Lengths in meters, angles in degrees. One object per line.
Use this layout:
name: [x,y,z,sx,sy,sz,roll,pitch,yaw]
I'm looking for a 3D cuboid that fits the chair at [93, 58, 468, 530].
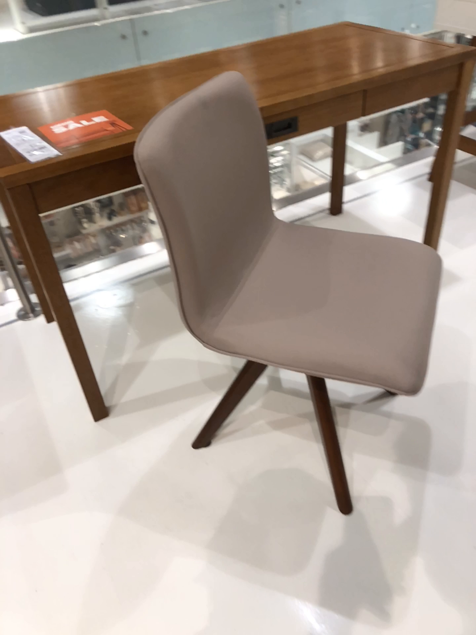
chair: [0.149,-0.060,1.177,0.530,0.834,0.544,9,41,18]
